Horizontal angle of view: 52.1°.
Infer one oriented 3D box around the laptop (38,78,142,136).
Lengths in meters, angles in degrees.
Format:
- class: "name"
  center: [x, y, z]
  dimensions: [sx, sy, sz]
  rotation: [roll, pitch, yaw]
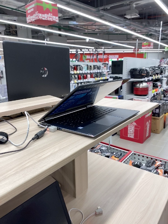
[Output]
- class: "laptop"
  center: [0.040, -0.046, 0.617]
  dimensions: [0.217, 0.128, 0.320]
  rotation: [10, 17, 37]
